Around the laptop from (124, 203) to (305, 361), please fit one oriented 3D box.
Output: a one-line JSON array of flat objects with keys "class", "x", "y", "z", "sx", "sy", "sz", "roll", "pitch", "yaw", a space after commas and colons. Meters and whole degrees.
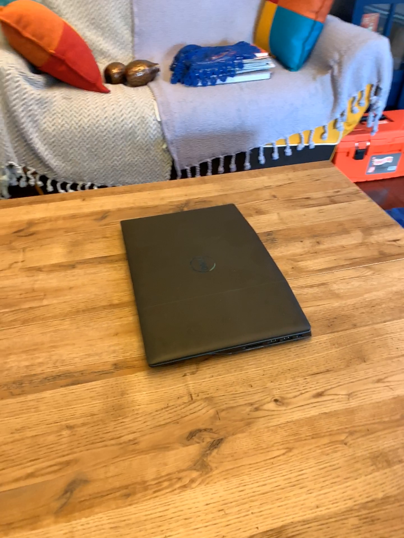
[{"class": "laptop", "x": -0.002, "y": -0.007, "z": 0.699, "sx": 0.227, "sy": 0.001, "sz": 0.348, "roll": -10, "pitch": 41, "yaw": -10}]
